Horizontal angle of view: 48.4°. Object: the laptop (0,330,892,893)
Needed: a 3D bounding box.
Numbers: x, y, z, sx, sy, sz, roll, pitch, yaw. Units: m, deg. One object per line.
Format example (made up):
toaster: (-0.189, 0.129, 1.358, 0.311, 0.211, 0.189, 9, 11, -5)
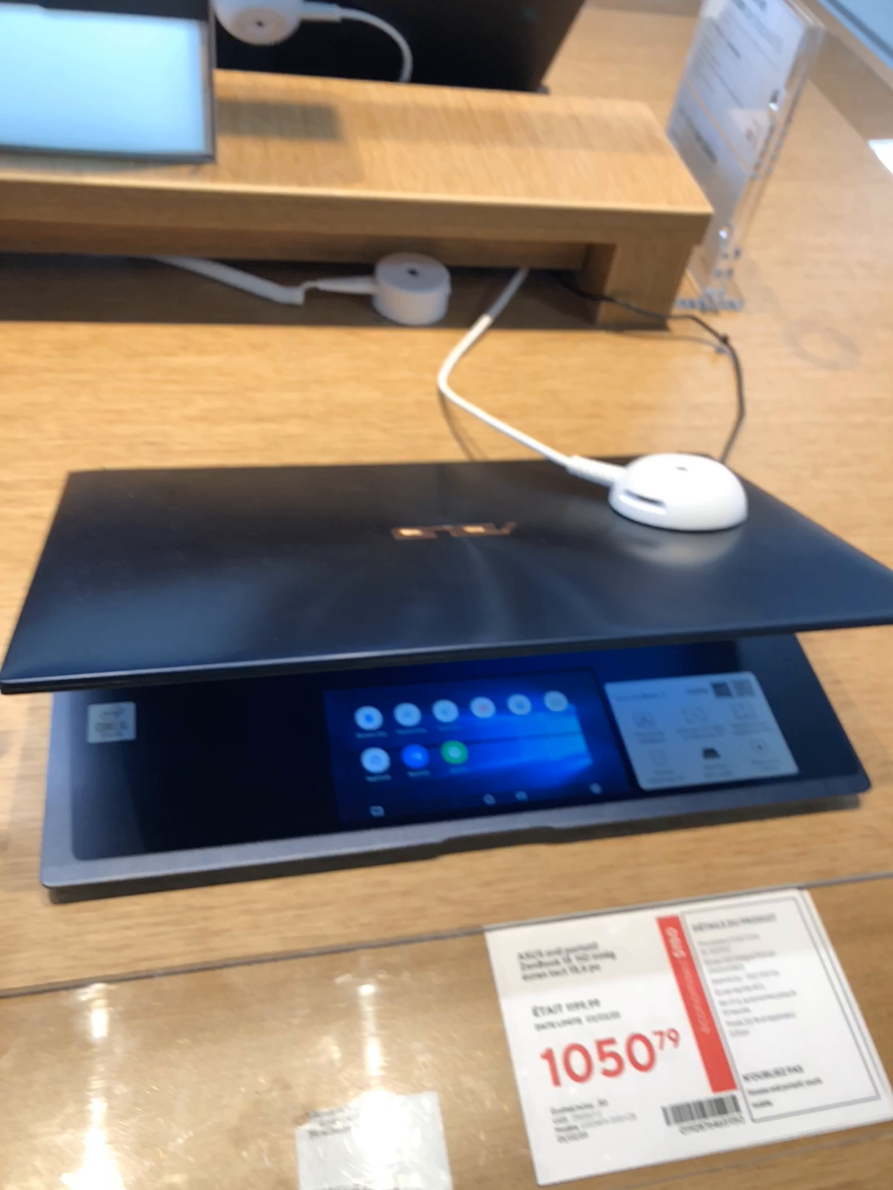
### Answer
laptop: (0.007, -0.013, 0.435, 0.352, 0.098, 0.209, -3, 50, -14)
